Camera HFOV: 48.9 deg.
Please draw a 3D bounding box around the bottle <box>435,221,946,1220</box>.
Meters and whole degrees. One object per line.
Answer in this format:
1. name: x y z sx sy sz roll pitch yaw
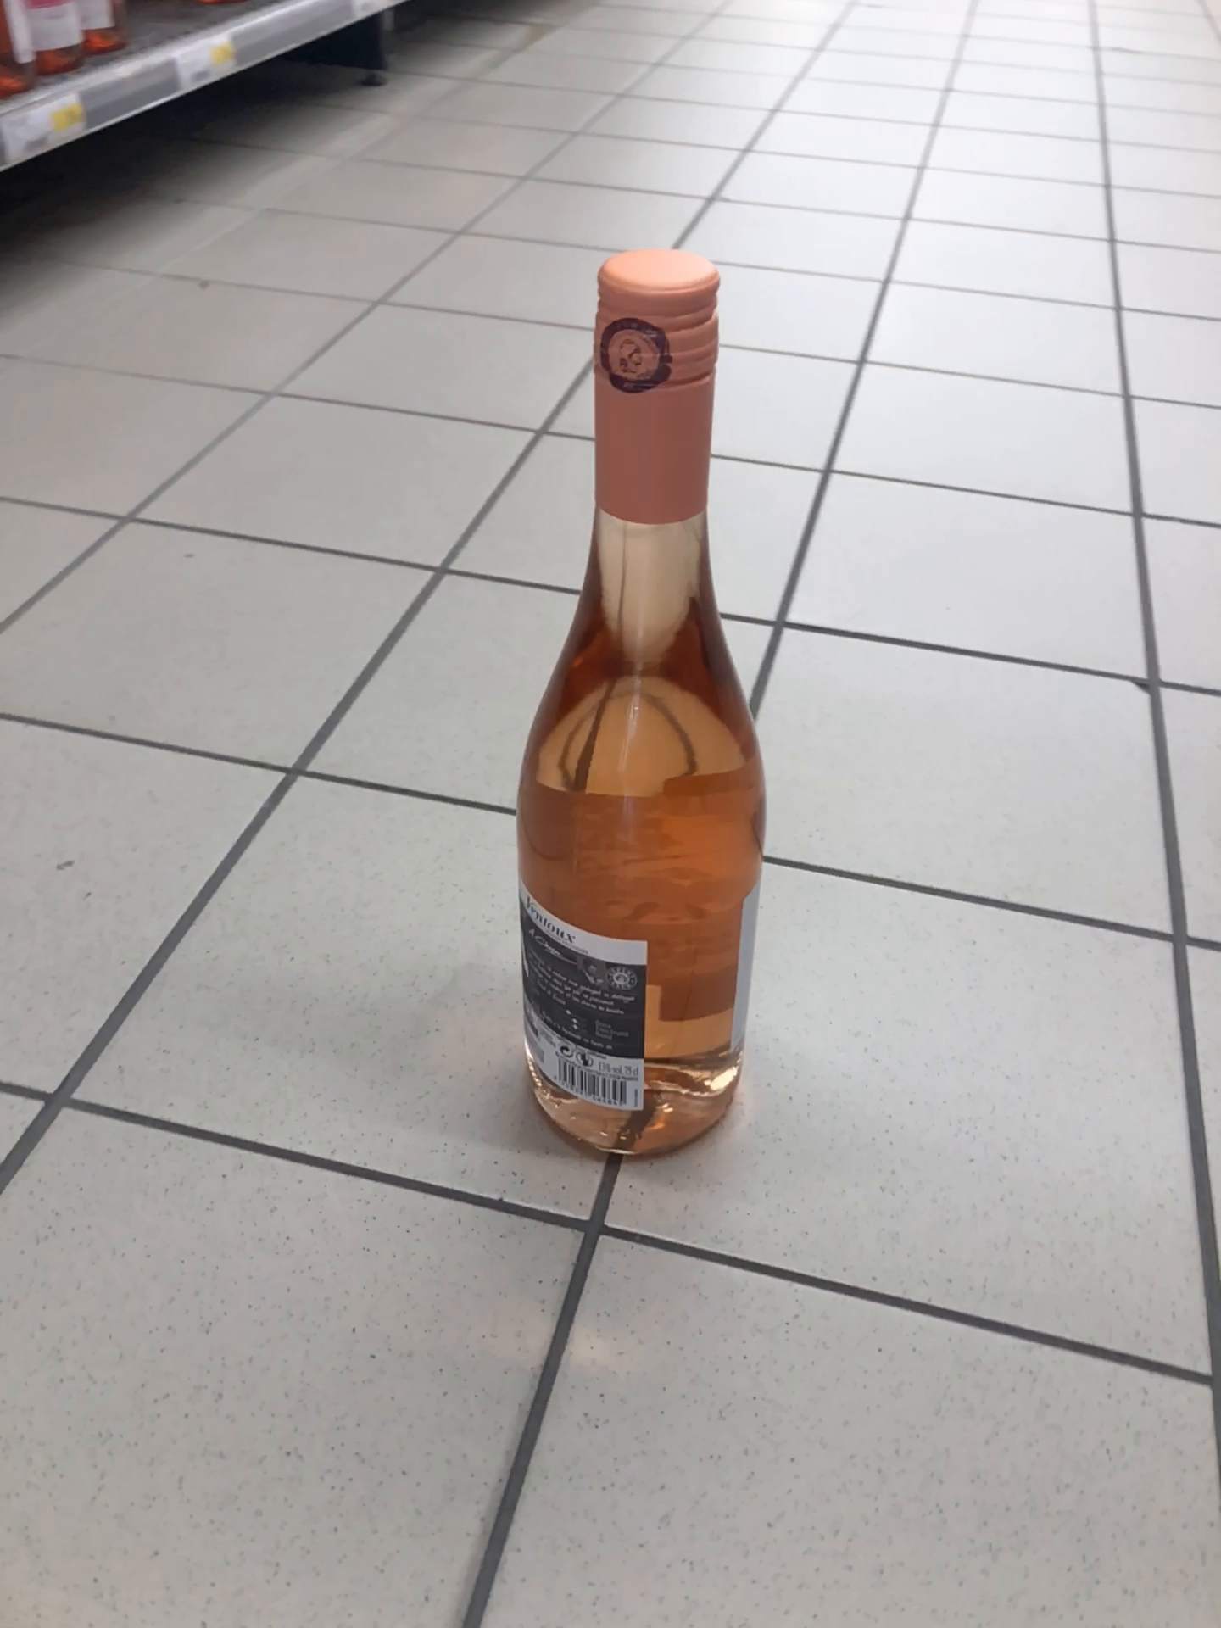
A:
1. bottle: 0.015 -0.013 0.402 0.090 0.278 0.081 29 46 30
